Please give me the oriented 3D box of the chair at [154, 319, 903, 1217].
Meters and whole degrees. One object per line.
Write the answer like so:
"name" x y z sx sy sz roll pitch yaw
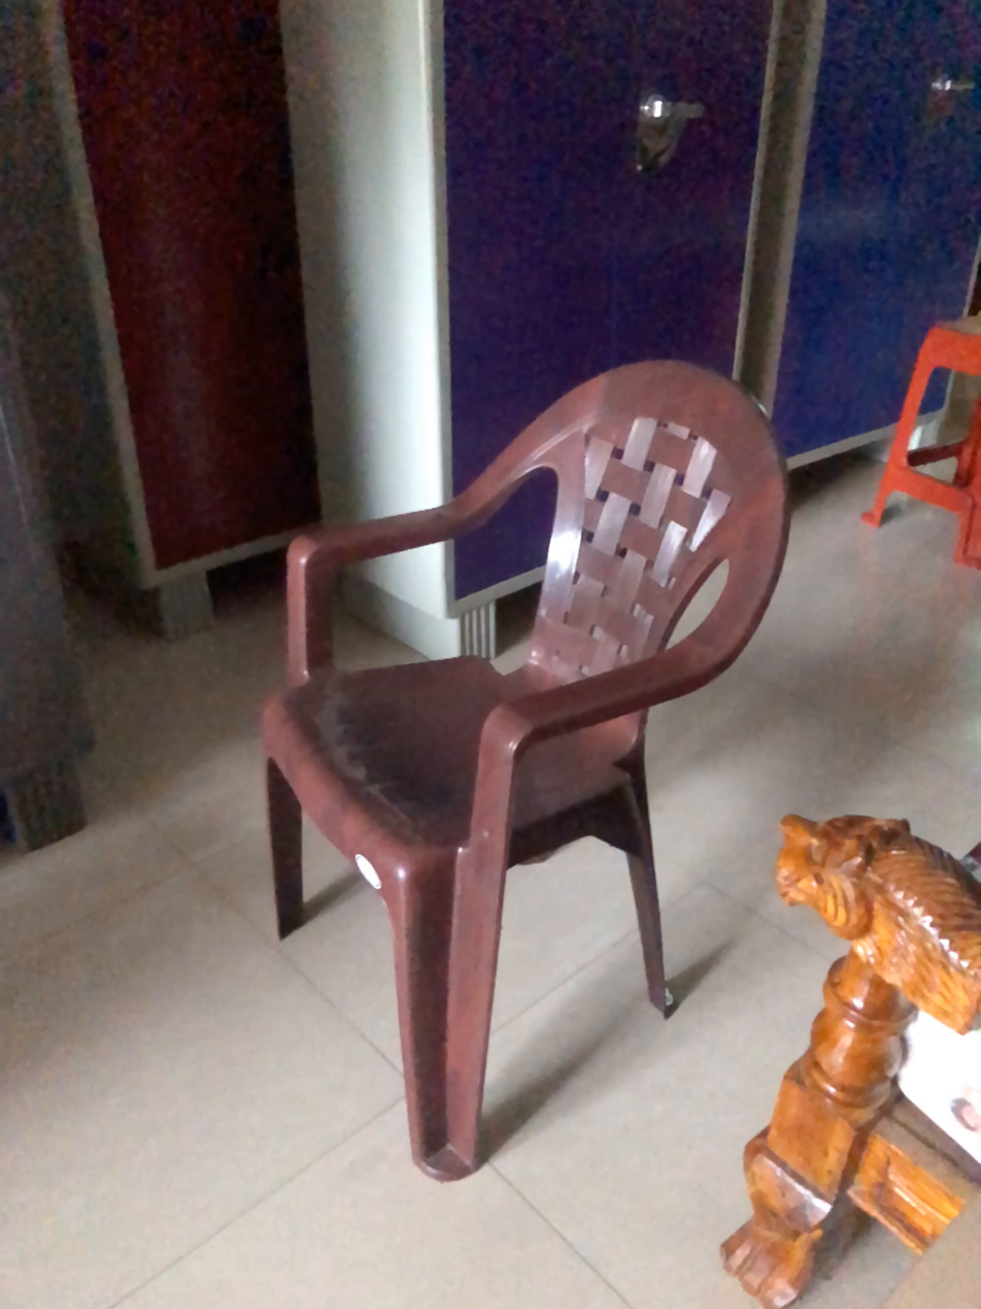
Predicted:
"chair" 0.022 0.079 1.411 0.612 0.836 0.601 -18 33 -28
